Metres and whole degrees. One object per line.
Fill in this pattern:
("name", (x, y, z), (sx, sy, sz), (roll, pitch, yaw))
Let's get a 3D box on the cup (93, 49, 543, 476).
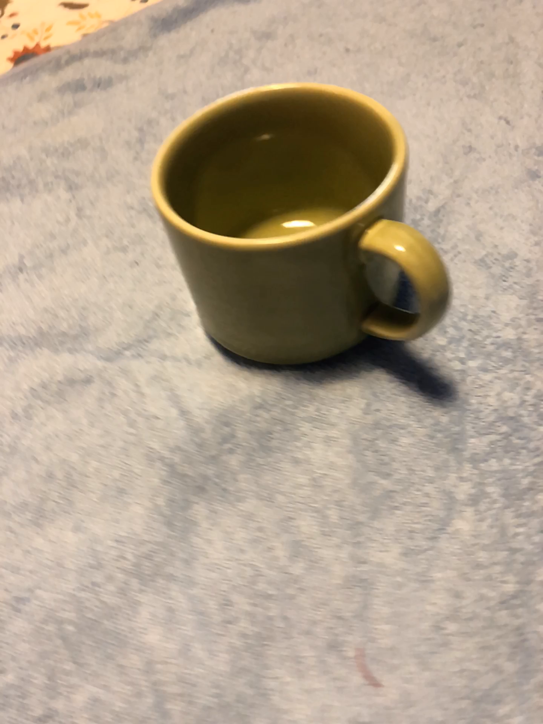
("cup", (0.018, -0.039, 0.205), (0.110, 0.060, 0.090), (37, 68, 28))
